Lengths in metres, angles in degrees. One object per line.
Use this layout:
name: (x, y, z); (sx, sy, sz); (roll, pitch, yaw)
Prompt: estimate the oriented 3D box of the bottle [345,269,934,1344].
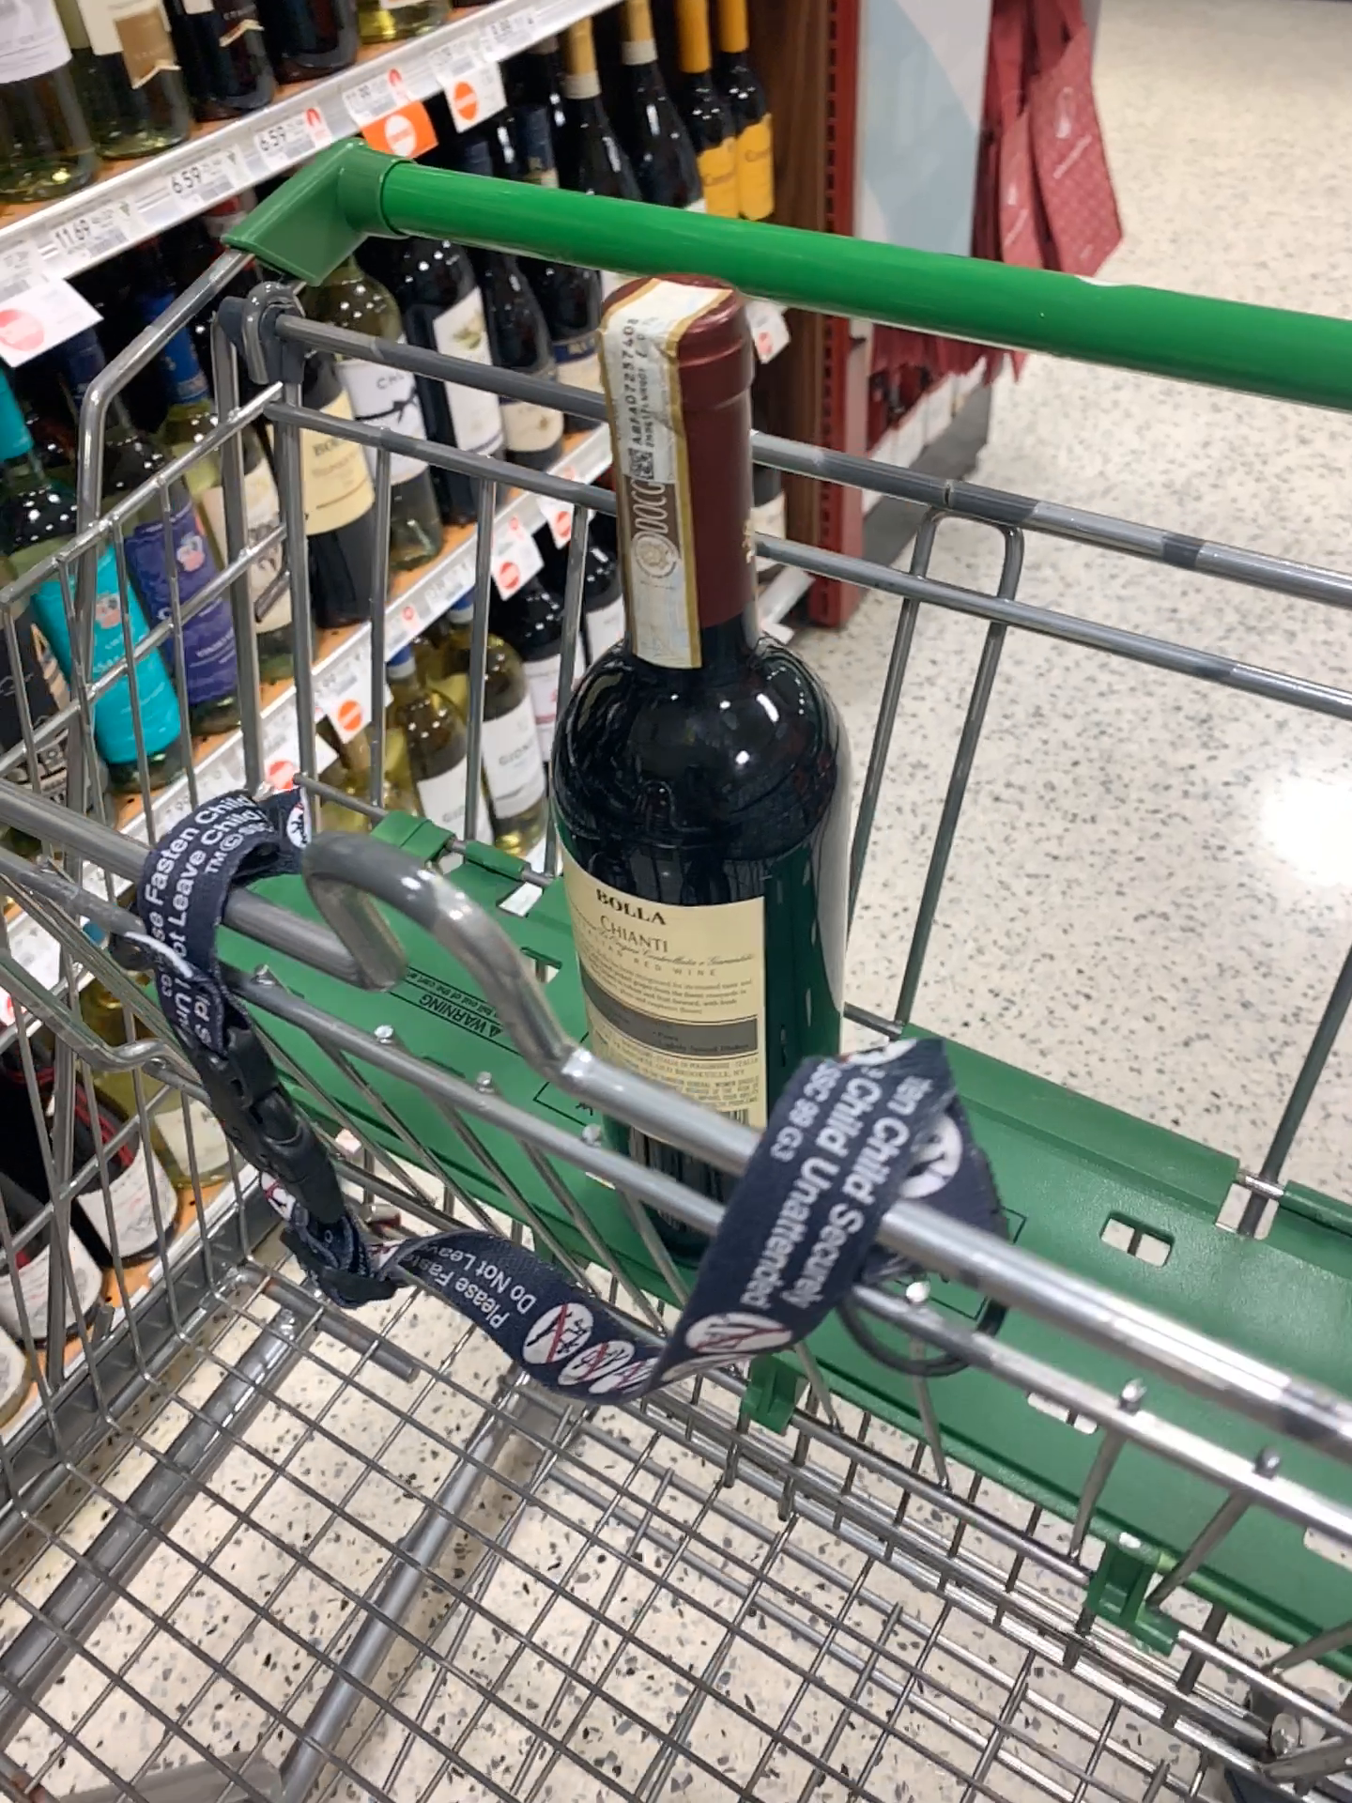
bottle: (0.002, -0.004, 0.356); (0.080, 0.267, 0.081); (-2, 45, 2)
